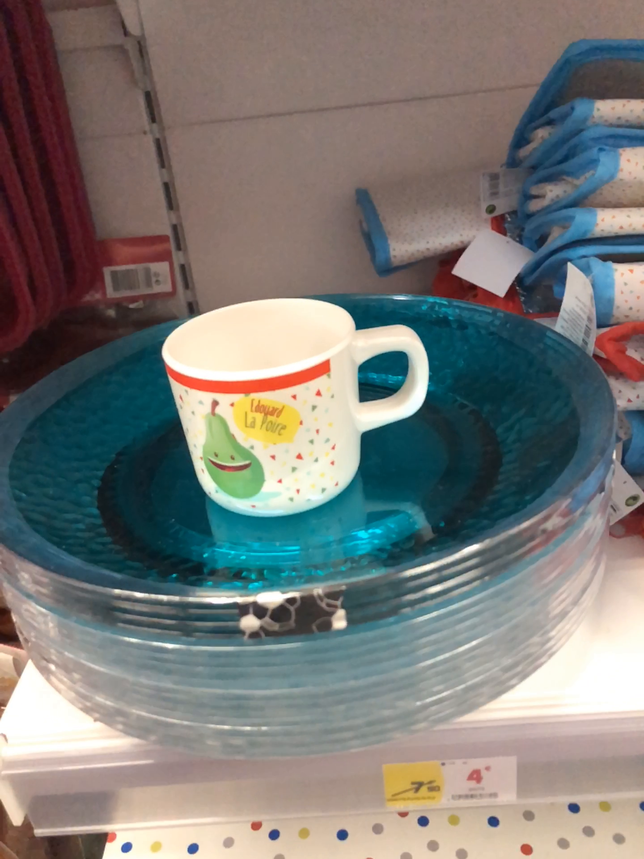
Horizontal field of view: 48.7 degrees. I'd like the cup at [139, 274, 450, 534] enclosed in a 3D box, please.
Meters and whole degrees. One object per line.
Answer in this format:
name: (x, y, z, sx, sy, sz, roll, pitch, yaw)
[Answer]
cup: (-0.010, -0.014, 0.280, 0.102, 0.059, 0.077, -8, 31, -3)
